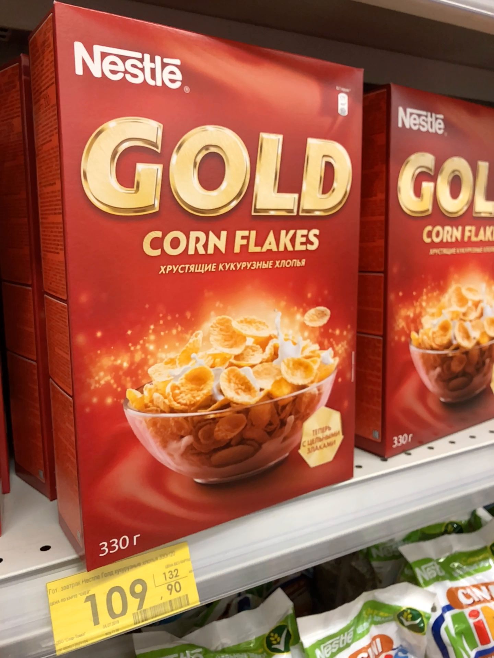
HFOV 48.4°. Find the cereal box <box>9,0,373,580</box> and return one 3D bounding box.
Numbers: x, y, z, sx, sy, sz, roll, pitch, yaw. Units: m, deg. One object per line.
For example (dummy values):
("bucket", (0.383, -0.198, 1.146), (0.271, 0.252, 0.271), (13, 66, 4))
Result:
("cereal box", (-0.021, -0.025, 0.335), (0.200, 0.279, 0.060), (-7, 13, -34))
